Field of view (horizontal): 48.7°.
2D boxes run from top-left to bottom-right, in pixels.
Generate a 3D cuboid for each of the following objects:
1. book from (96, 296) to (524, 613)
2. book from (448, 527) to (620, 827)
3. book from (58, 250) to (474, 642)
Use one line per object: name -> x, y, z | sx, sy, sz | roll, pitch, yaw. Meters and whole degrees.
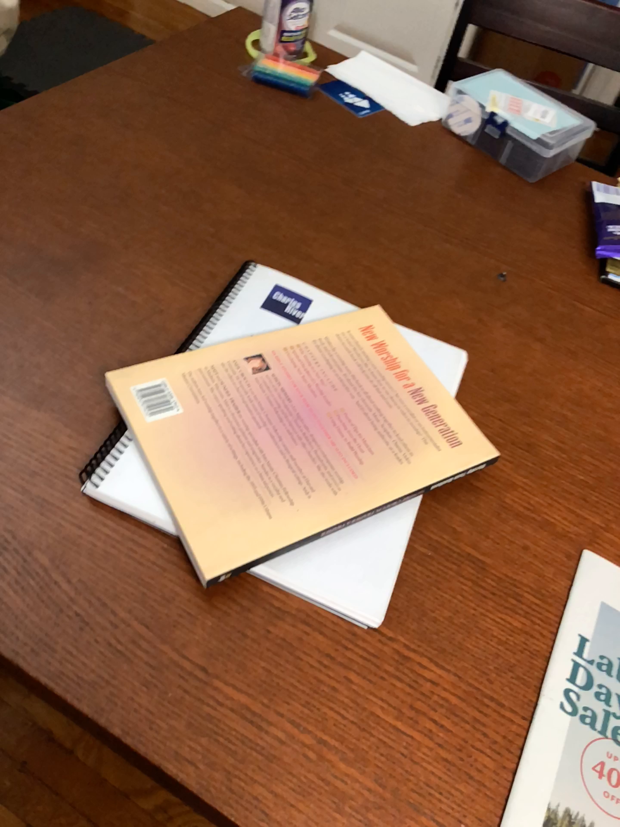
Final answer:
book -> 0.002, 0.008, 0.511 | 0.261, 0.020, 0.191 | -18, 58, -27
book -> 0.220, 0.218, 0.406 | 0.200, 0.010, 0.271 | 29, 50, 10
book -> -0.010, -0.002, 0.539 | 0.230, 0.020, 0.292 | 23, 49, 5
